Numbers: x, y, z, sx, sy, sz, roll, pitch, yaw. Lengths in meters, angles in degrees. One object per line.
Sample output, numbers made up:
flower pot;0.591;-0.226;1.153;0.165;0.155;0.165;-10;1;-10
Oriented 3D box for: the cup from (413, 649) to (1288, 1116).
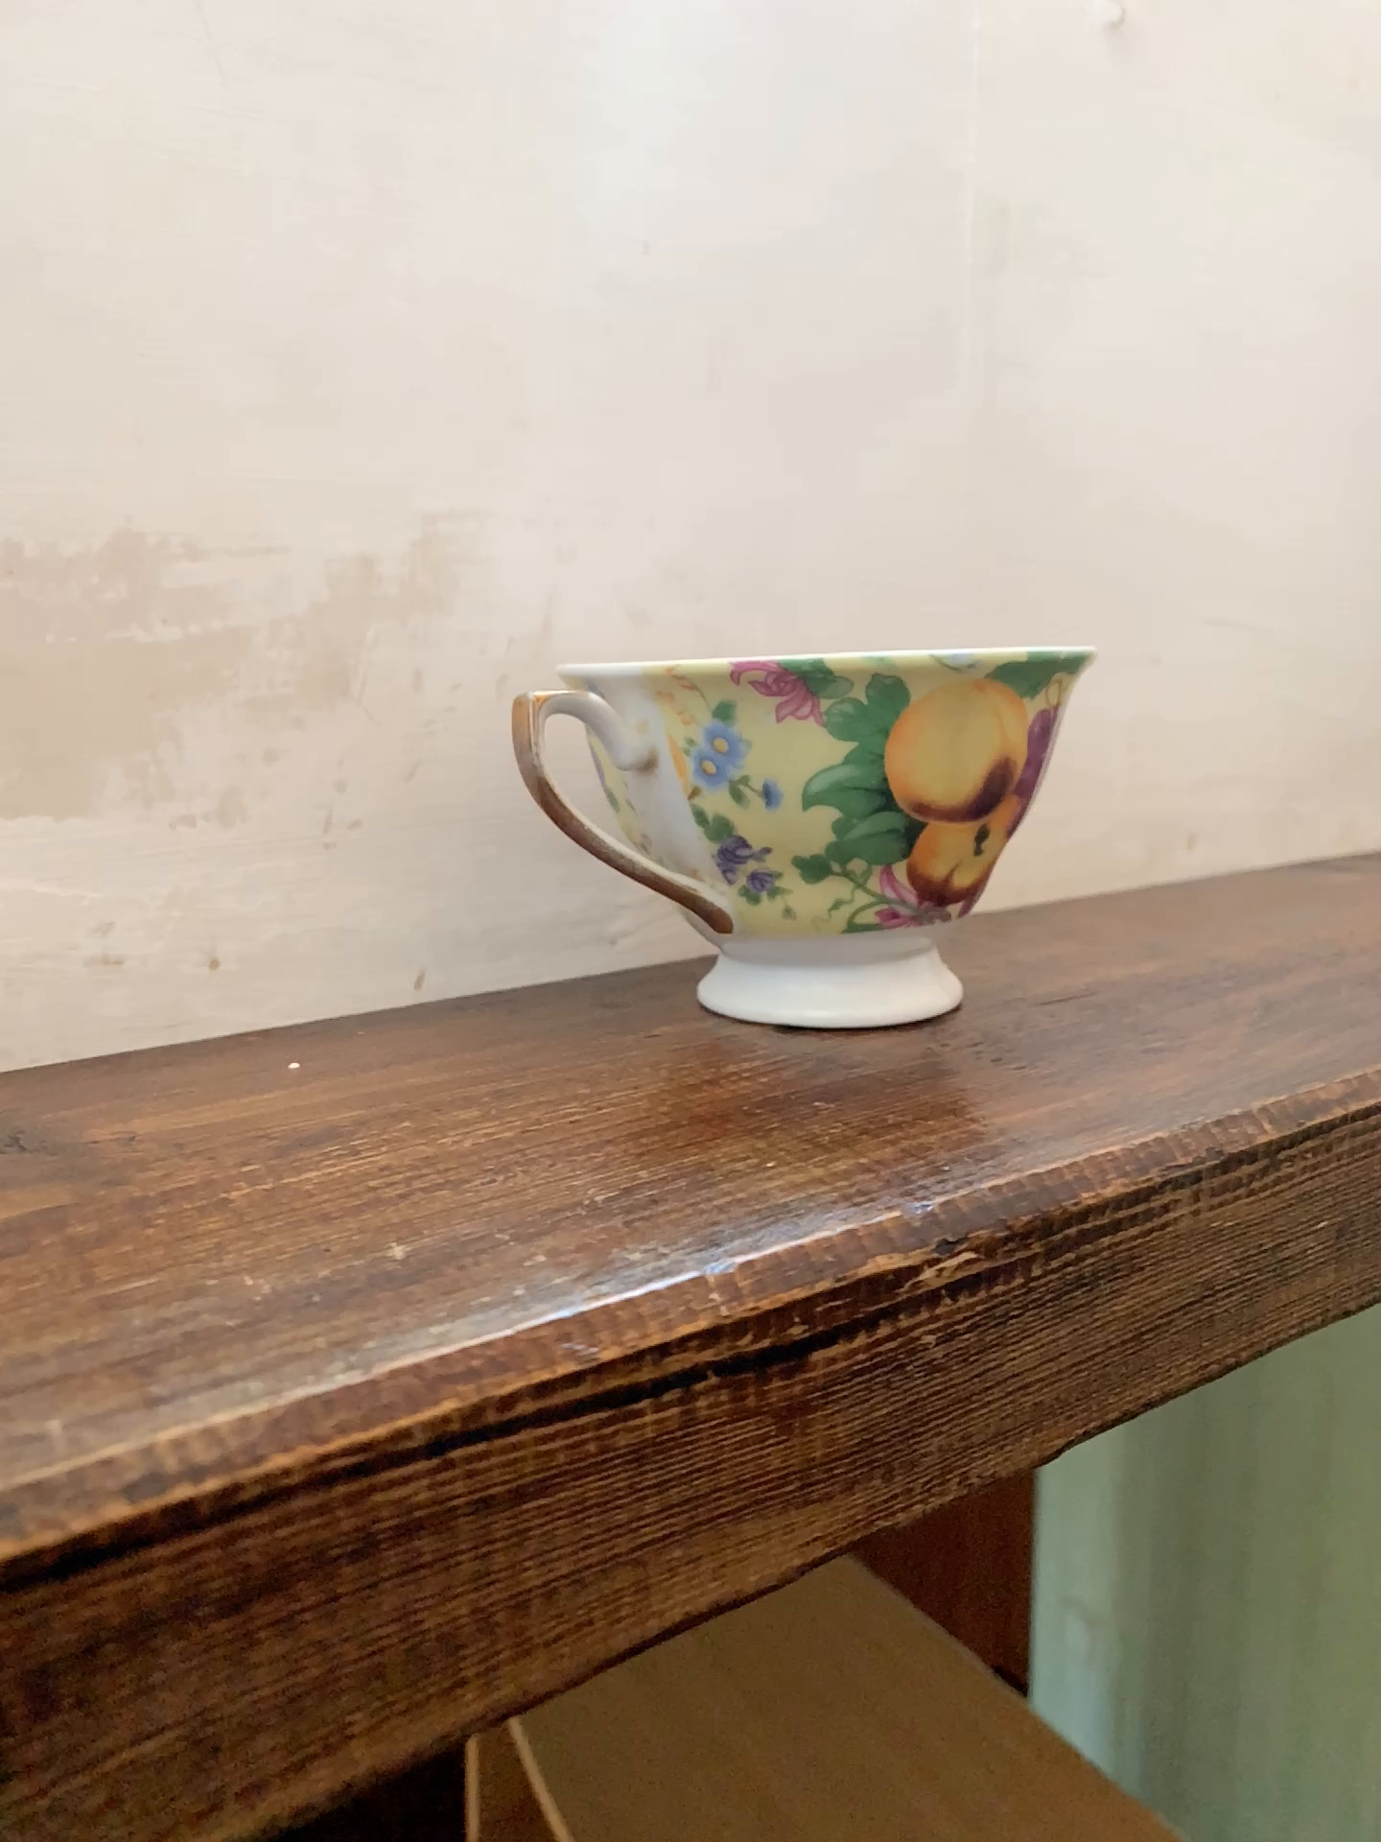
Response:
cup;0.029;-0.017;0.256;0.123;0.058;0.091;-9;12;-36
